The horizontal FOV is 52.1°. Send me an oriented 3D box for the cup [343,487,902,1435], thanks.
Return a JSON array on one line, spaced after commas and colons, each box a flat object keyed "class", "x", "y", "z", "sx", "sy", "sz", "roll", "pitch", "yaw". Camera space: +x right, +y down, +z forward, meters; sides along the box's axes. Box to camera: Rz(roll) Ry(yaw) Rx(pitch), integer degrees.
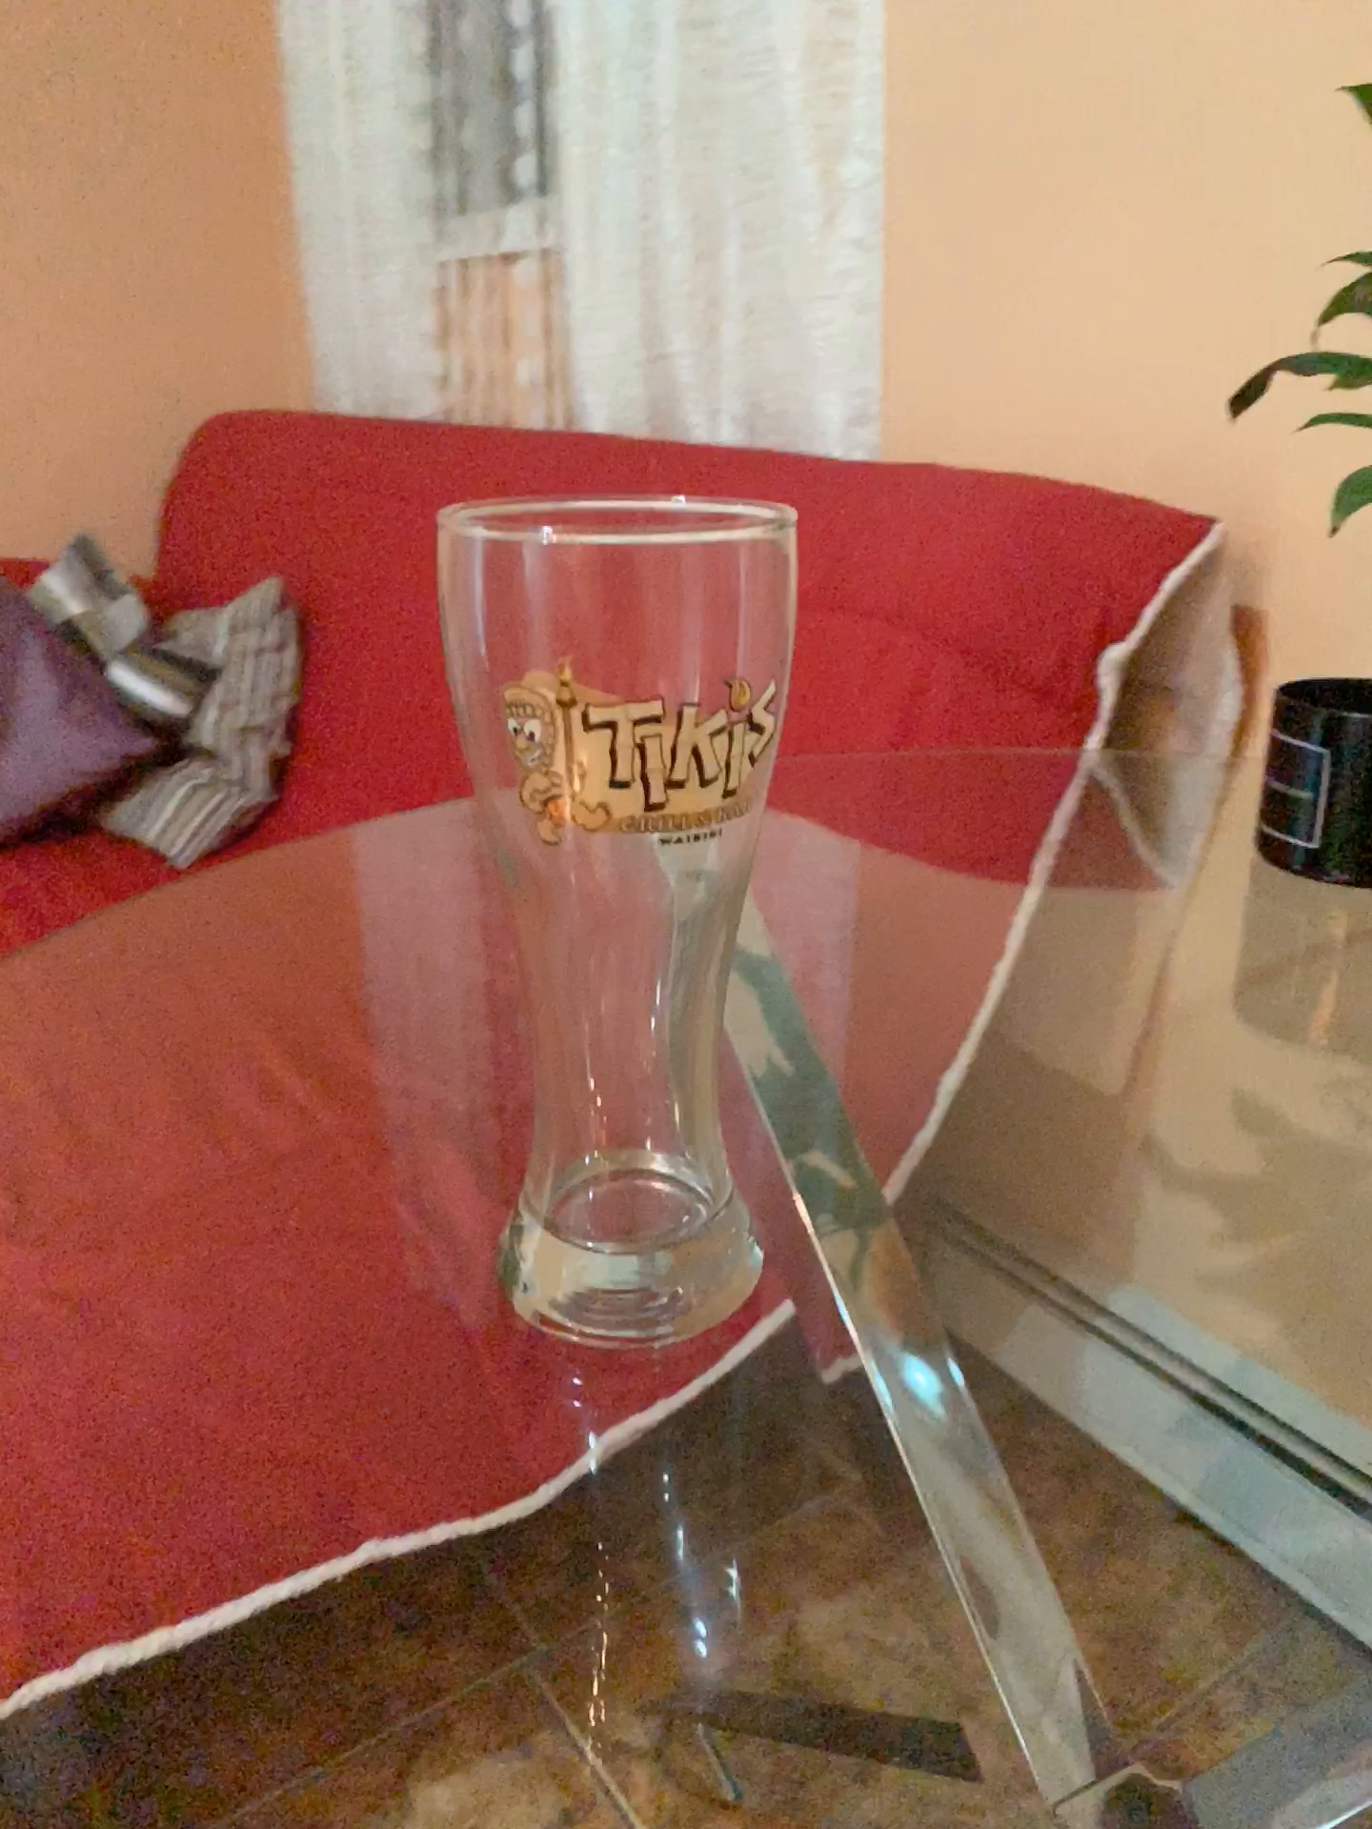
[{"class": "cup", "x": -0.020, "y": 0.003, "z": 0.367, "sx": 0.093, "sy": 0.211, "sz": 0.100, "roll": 1, "pitch": 20, "yaw": 0}]
